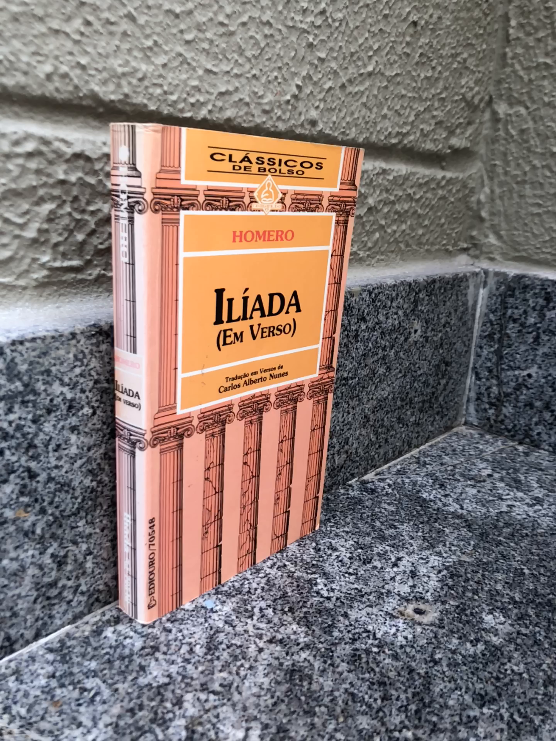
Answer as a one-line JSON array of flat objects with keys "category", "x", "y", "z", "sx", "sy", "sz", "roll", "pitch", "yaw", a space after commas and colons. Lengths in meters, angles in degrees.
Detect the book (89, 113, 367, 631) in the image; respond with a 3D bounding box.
[{"category": "book", "x": -0.021, "y": -0.002, "z": 0.307, "sx": 0.030, "sy": 0.219, "sz": 0.140, "roll": 19, "pitch": 23, "yaw": 40}]
